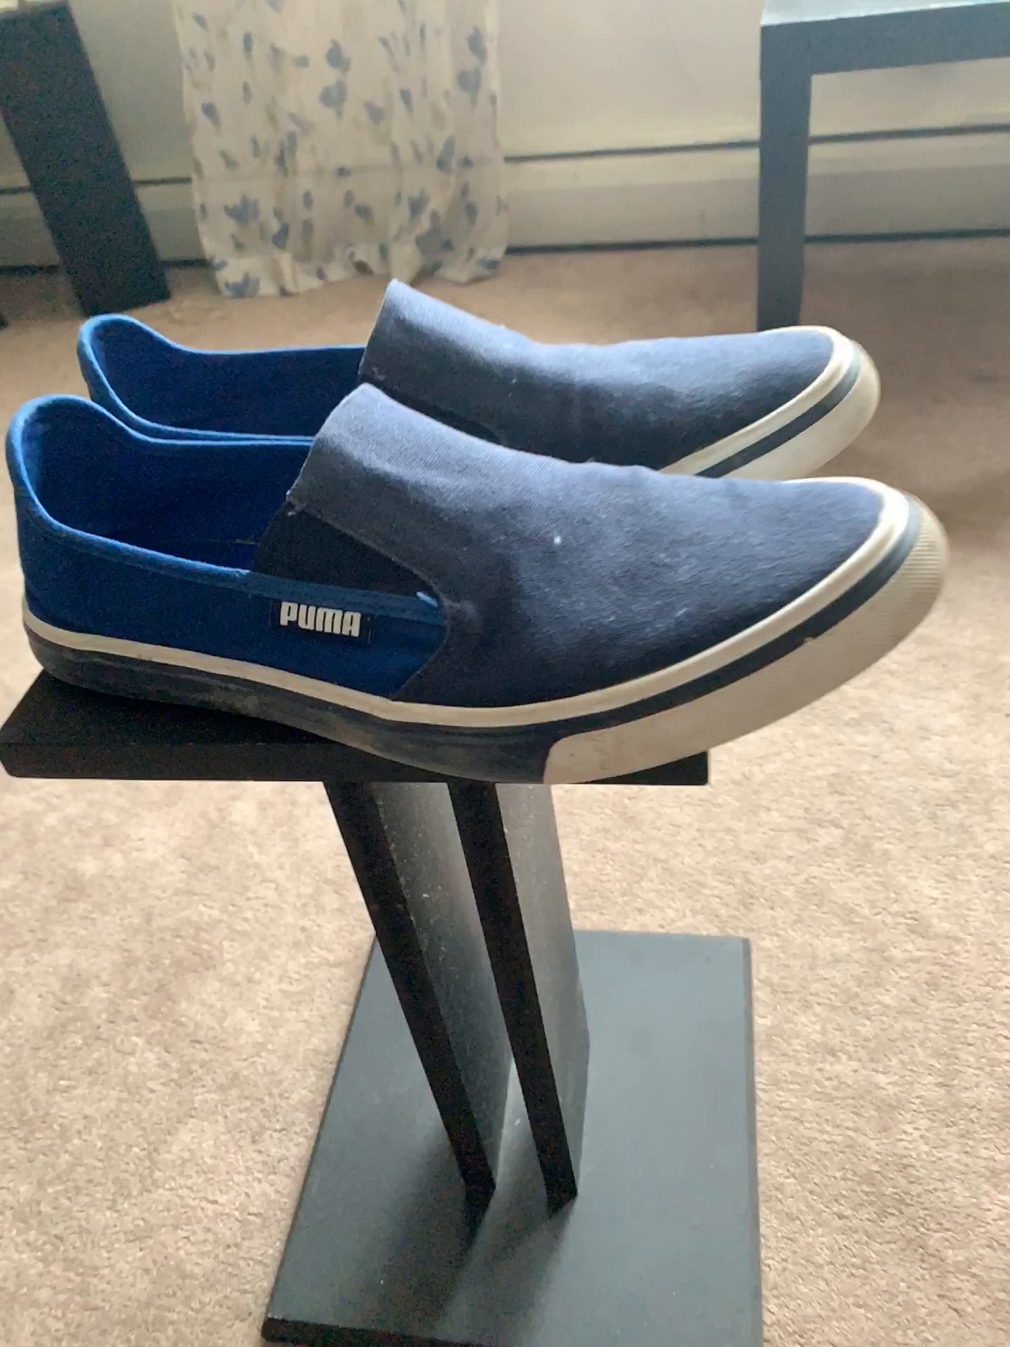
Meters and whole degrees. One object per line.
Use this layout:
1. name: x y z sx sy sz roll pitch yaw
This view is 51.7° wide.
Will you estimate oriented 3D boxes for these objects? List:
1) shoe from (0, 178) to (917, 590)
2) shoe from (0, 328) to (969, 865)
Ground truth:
1. shoe: -0.020 -0.109 0.392 0.300 0.079 0.121 -3 39 8
2. shoe: -0.029 -0.041 0.316 0.300 0.079 0.121 7 42 20
